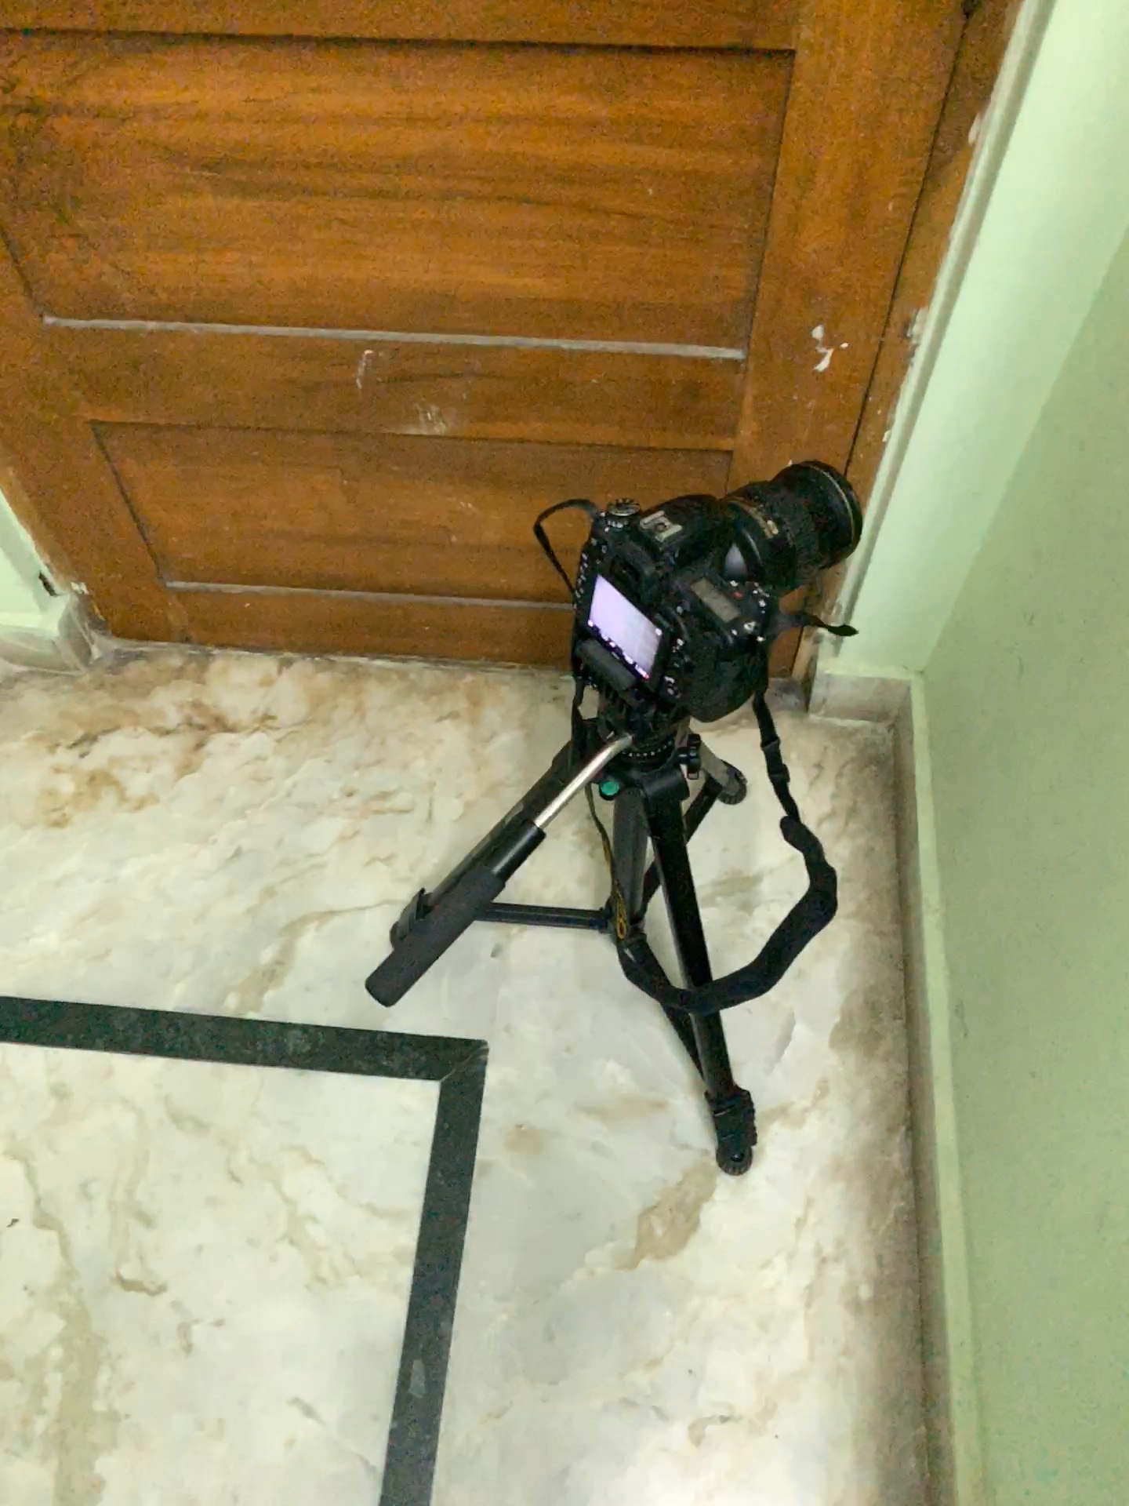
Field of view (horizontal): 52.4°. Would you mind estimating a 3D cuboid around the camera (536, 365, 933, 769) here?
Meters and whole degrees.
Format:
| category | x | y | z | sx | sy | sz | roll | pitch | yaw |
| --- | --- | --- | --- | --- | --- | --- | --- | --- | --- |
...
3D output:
| category | x | y | z | sx | sy | sz | roll | pitch | yaw |
| --- | --- | --- | --- | --- | --- | --- | --- | --- | --- |
| camera | 0.111 | -0.132 | 0.800 | 0.189 | 0.128 | 0.175 | -38 | 65 | -20 |
